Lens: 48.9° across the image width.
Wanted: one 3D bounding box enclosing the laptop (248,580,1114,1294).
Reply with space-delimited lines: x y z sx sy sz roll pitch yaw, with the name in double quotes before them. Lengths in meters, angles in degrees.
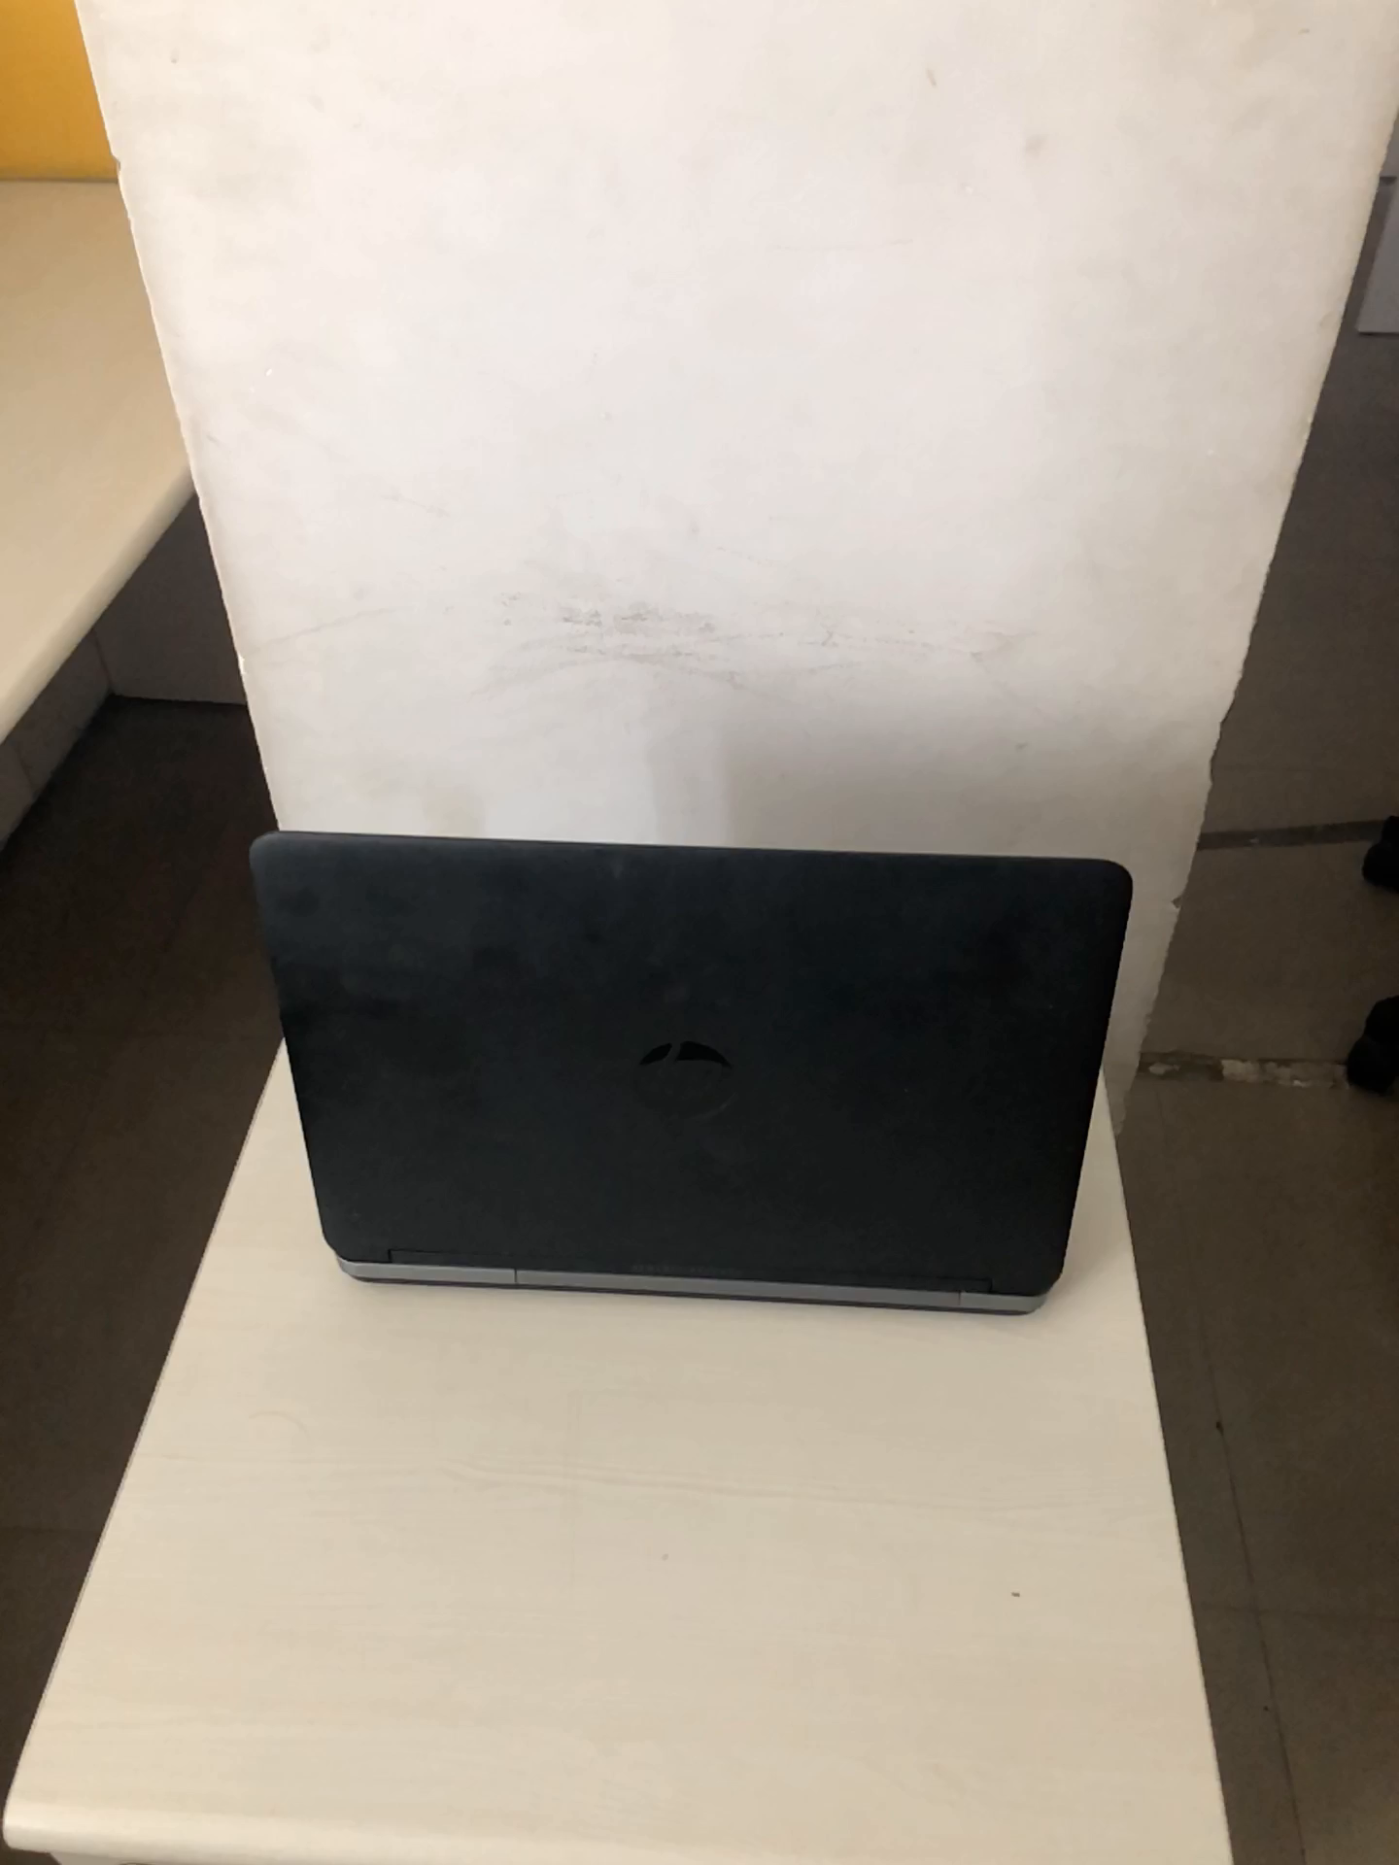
"laptop" 0.001 0.002 0.708 0.317 0.226 0.205 3 45 3
